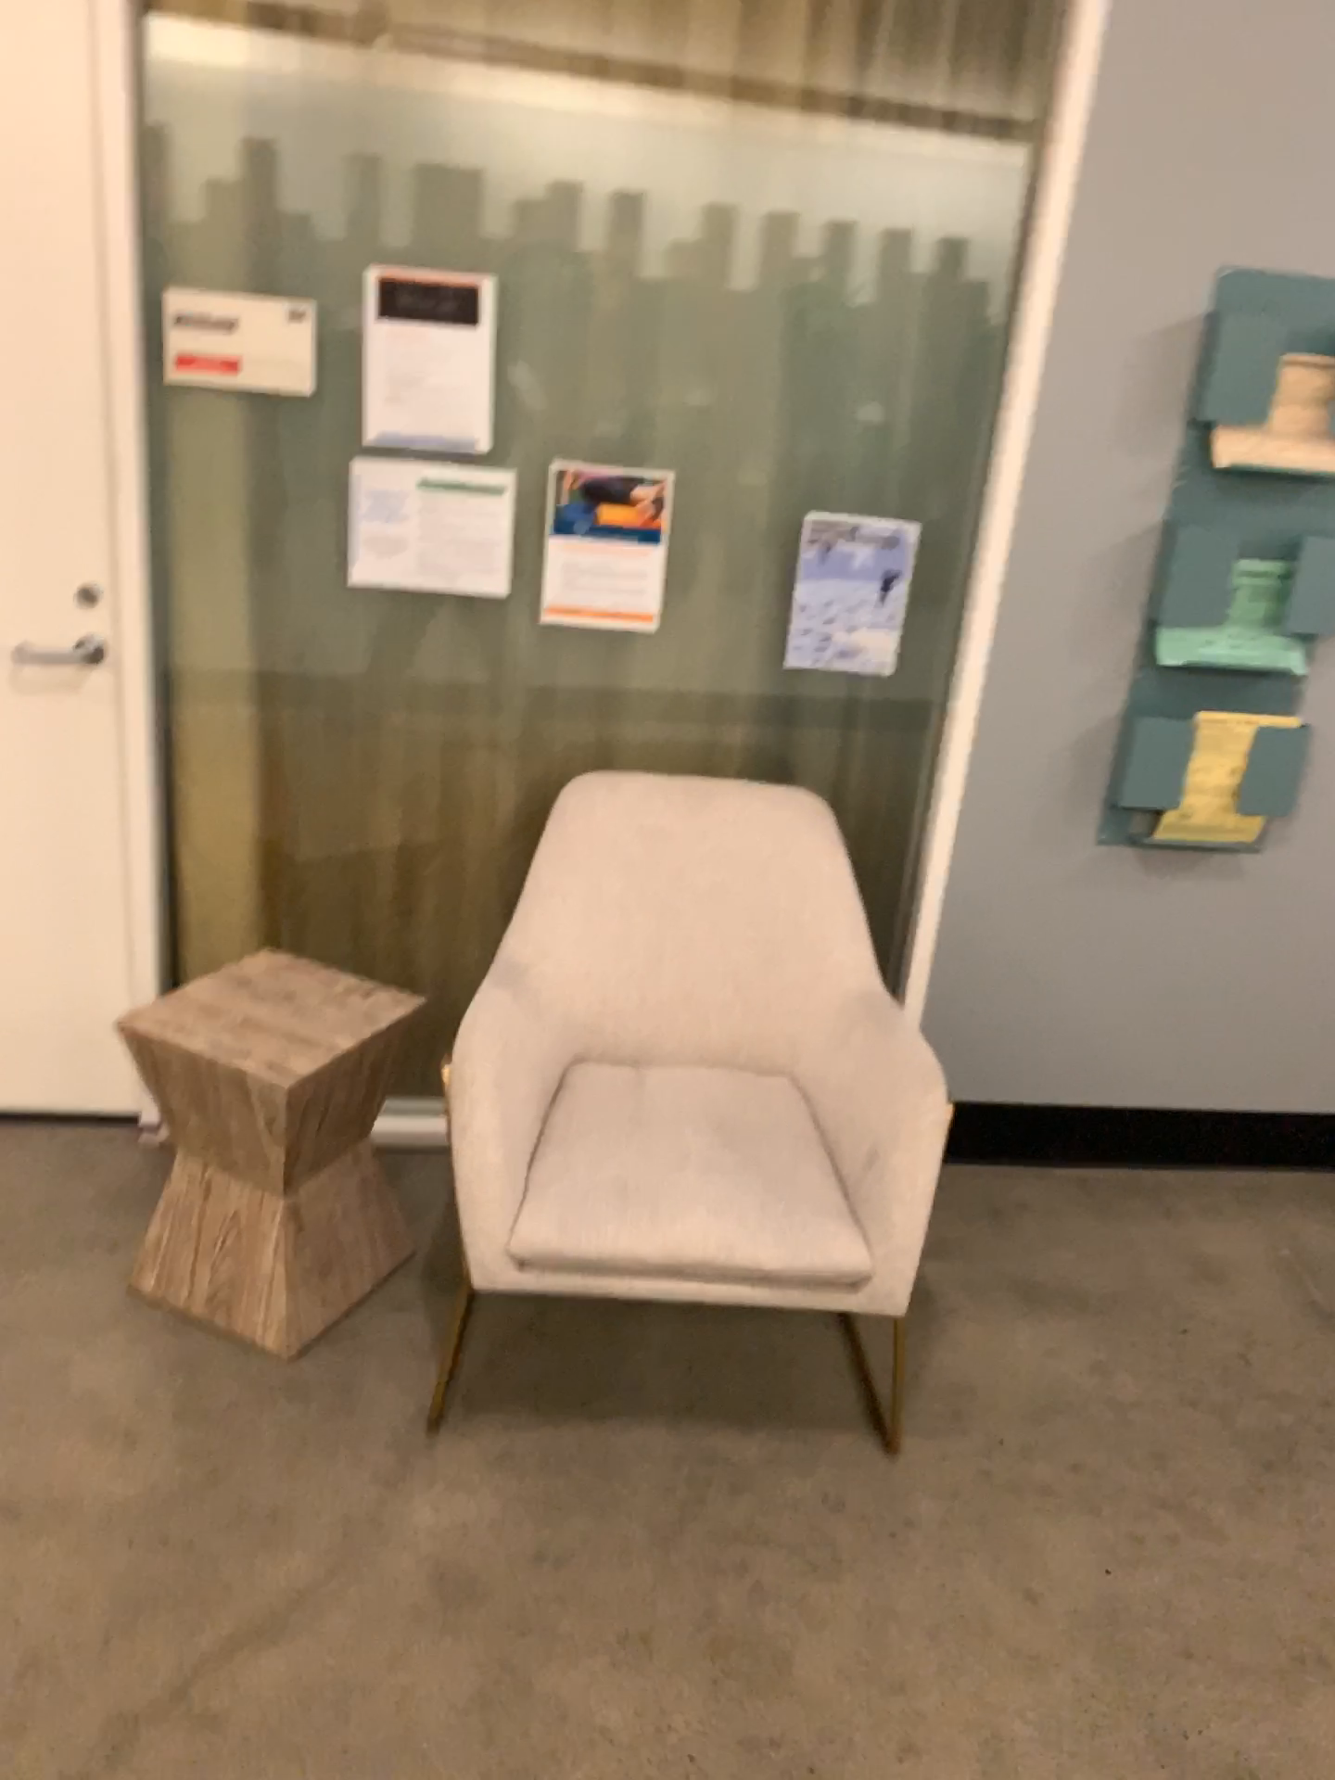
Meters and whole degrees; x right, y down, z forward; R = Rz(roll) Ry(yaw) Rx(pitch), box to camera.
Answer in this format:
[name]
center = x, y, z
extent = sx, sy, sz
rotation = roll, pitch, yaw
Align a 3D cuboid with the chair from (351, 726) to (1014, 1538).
[chair]
center = -0.044, 0.330, 2.204
extent = 0.780, 0.926, 0.874
rotation = 4, 21, -6
